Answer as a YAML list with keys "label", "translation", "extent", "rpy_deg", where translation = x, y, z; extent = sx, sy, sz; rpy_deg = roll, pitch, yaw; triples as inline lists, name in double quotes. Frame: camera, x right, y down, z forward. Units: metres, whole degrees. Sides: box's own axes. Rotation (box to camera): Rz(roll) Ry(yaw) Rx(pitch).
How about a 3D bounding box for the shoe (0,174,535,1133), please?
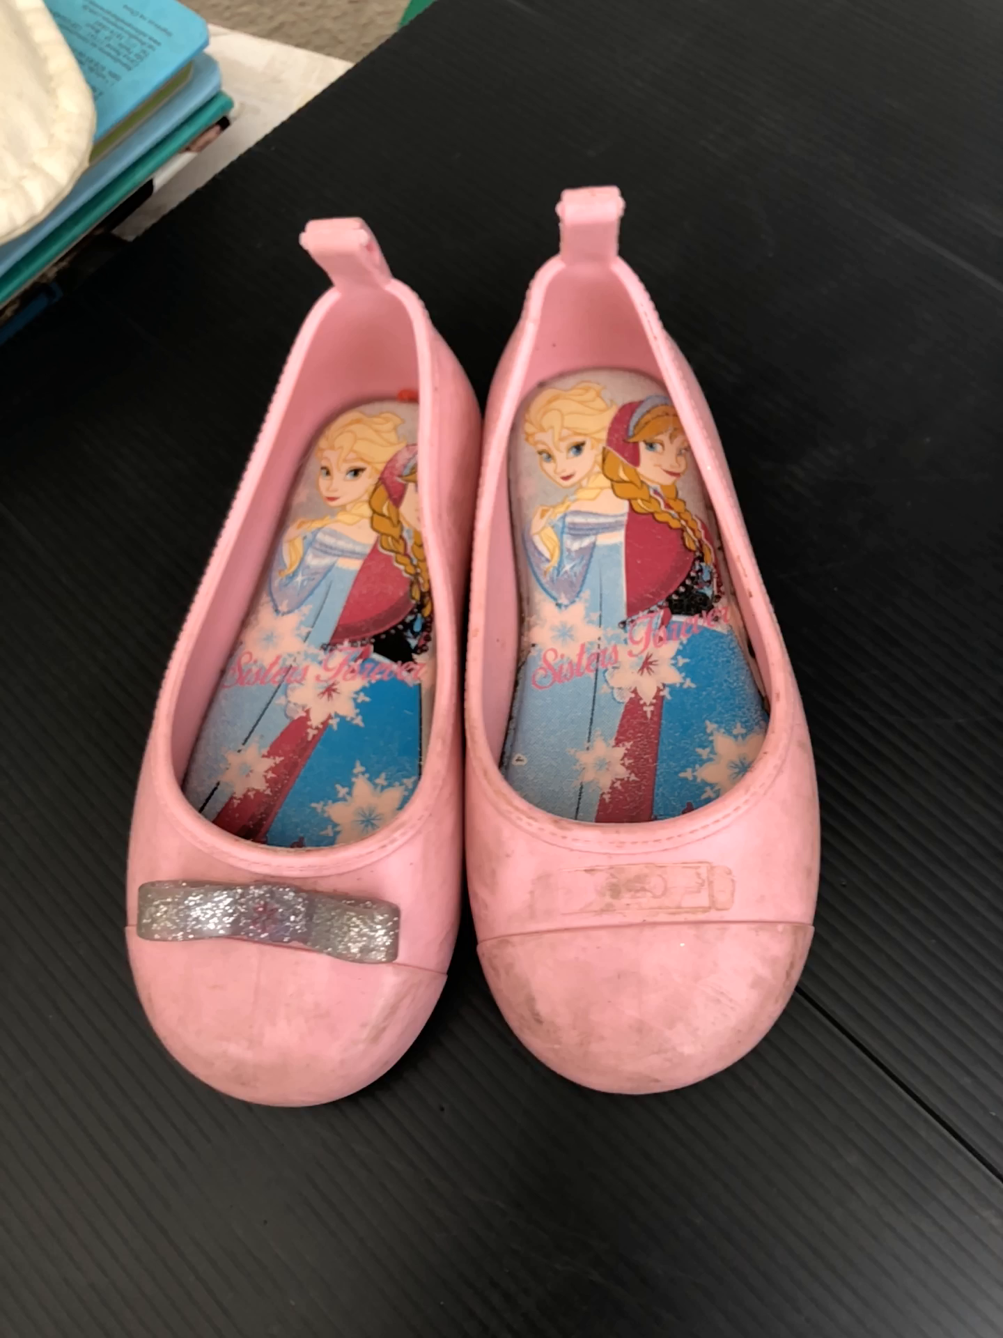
- label: "shoe"
  translation: [-0.041, -0.004, 0.218]
  extent: [0.077, 0.070, 0.160]
  rpy_deg: [5, 72, 5]

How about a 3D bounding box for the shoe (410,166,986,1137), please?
- label: "shoe"
  translation: [0.028, -0.002, 0.210]
  extent: [0.077, 0.070, 0.160]
  rpy_deg: [-1, 72, 3]
